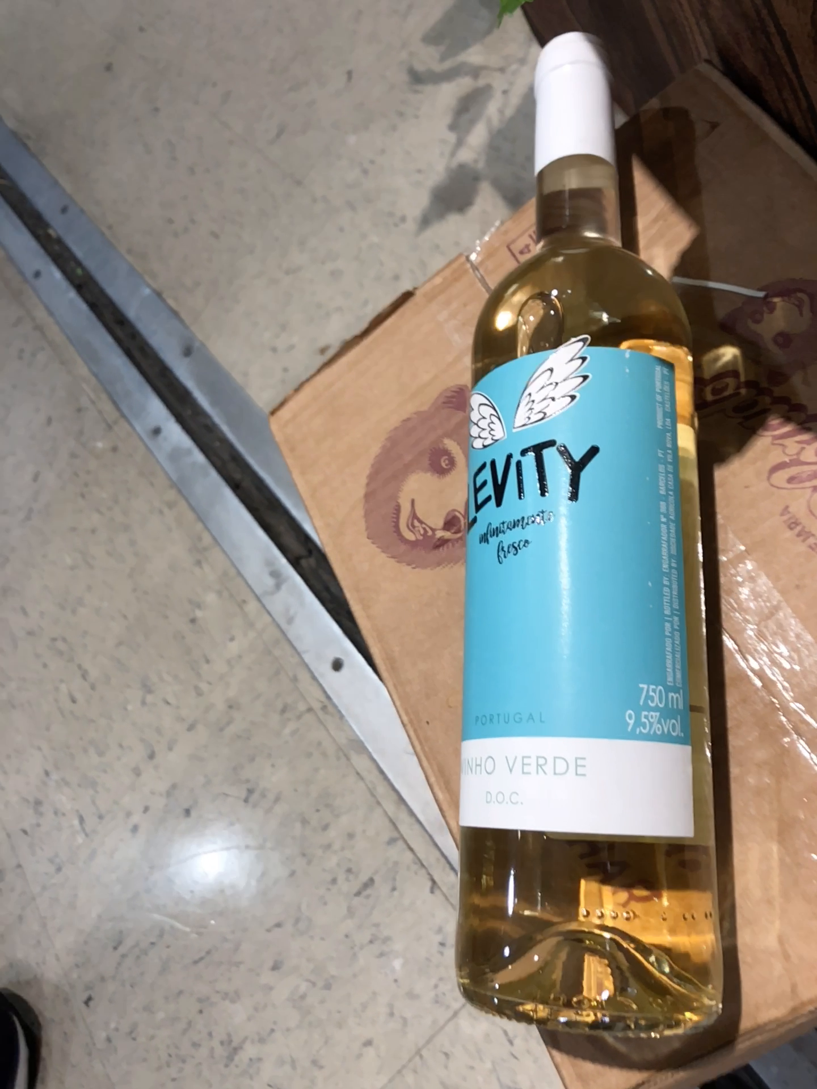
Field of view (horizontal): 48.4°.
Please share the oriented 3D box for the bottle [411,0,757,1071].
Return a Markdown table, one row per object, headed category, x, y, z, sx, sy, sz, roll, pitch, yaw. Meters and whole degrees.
| category | x | y | z | sx | sy | sz | roll | pitch | yaw |
| --- | --- | --- | --- | --- | --- | --- | --- | --- | --- |
| bottle | 0.053 | -0.035 | 0.290 | 0.080 | 0.050 | 0.340 | -7 | 73 | 30 |
